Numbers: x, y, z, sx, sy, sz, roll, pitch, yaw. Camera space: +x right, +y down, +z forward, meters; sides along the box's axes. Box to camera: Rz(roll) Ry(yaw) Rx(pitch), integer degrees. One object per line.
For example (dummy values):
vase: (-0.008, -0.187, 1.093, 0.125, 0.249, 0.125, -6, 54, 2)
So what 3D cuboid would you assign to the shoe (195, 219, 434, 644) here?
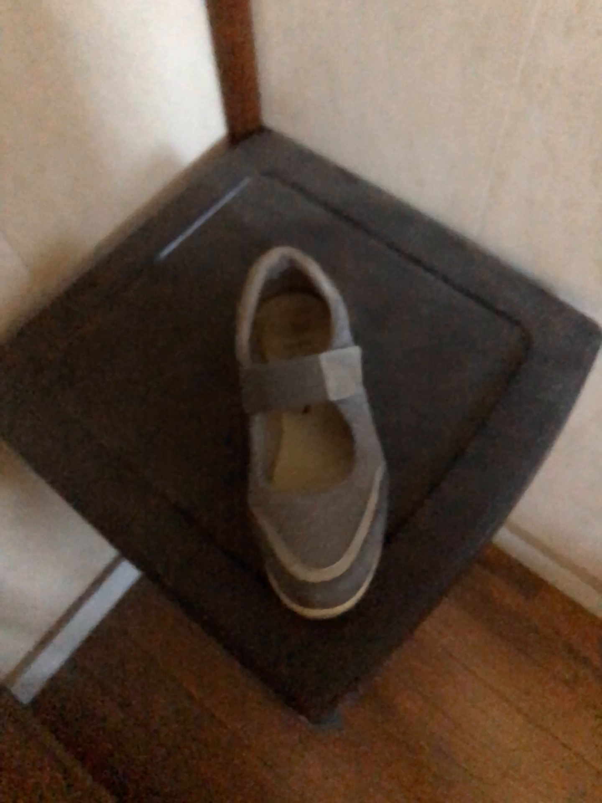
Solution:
shoe: (0.000, 0.013, 0.451, 0.110, 0.080, 0.261, -8, 64, -1)
